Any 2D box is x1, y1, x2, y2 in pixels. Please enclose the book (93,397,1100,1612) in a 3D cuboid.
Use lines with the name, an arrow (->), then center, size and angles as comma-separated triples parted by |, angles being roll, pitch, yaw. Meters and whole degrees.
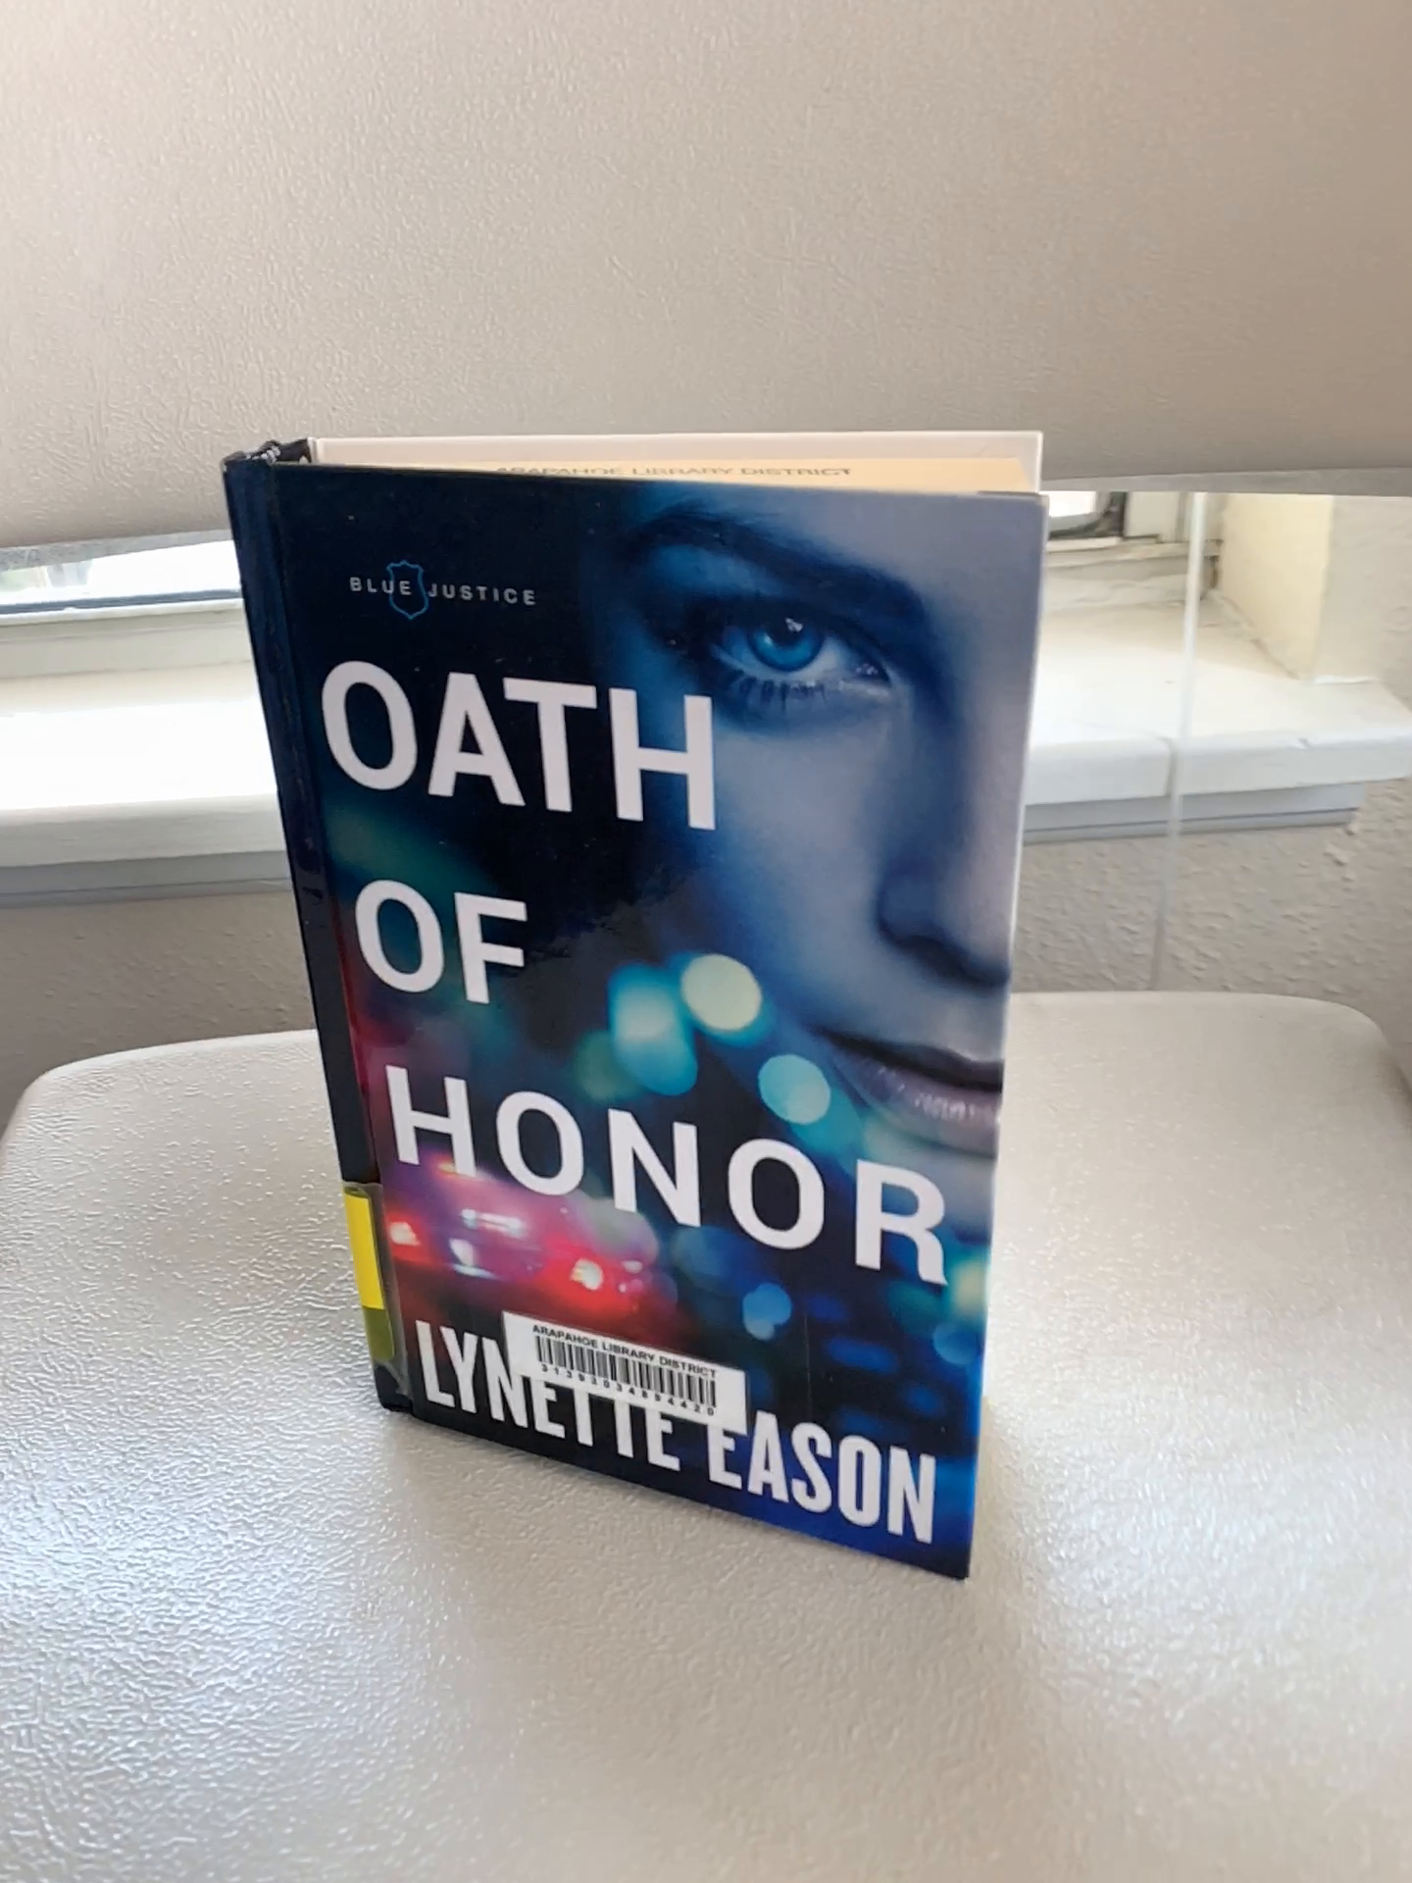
book -> -0.011, 0.013, 0.285 | 0.154, 0.217, 0.063 | 4, 26, 15
